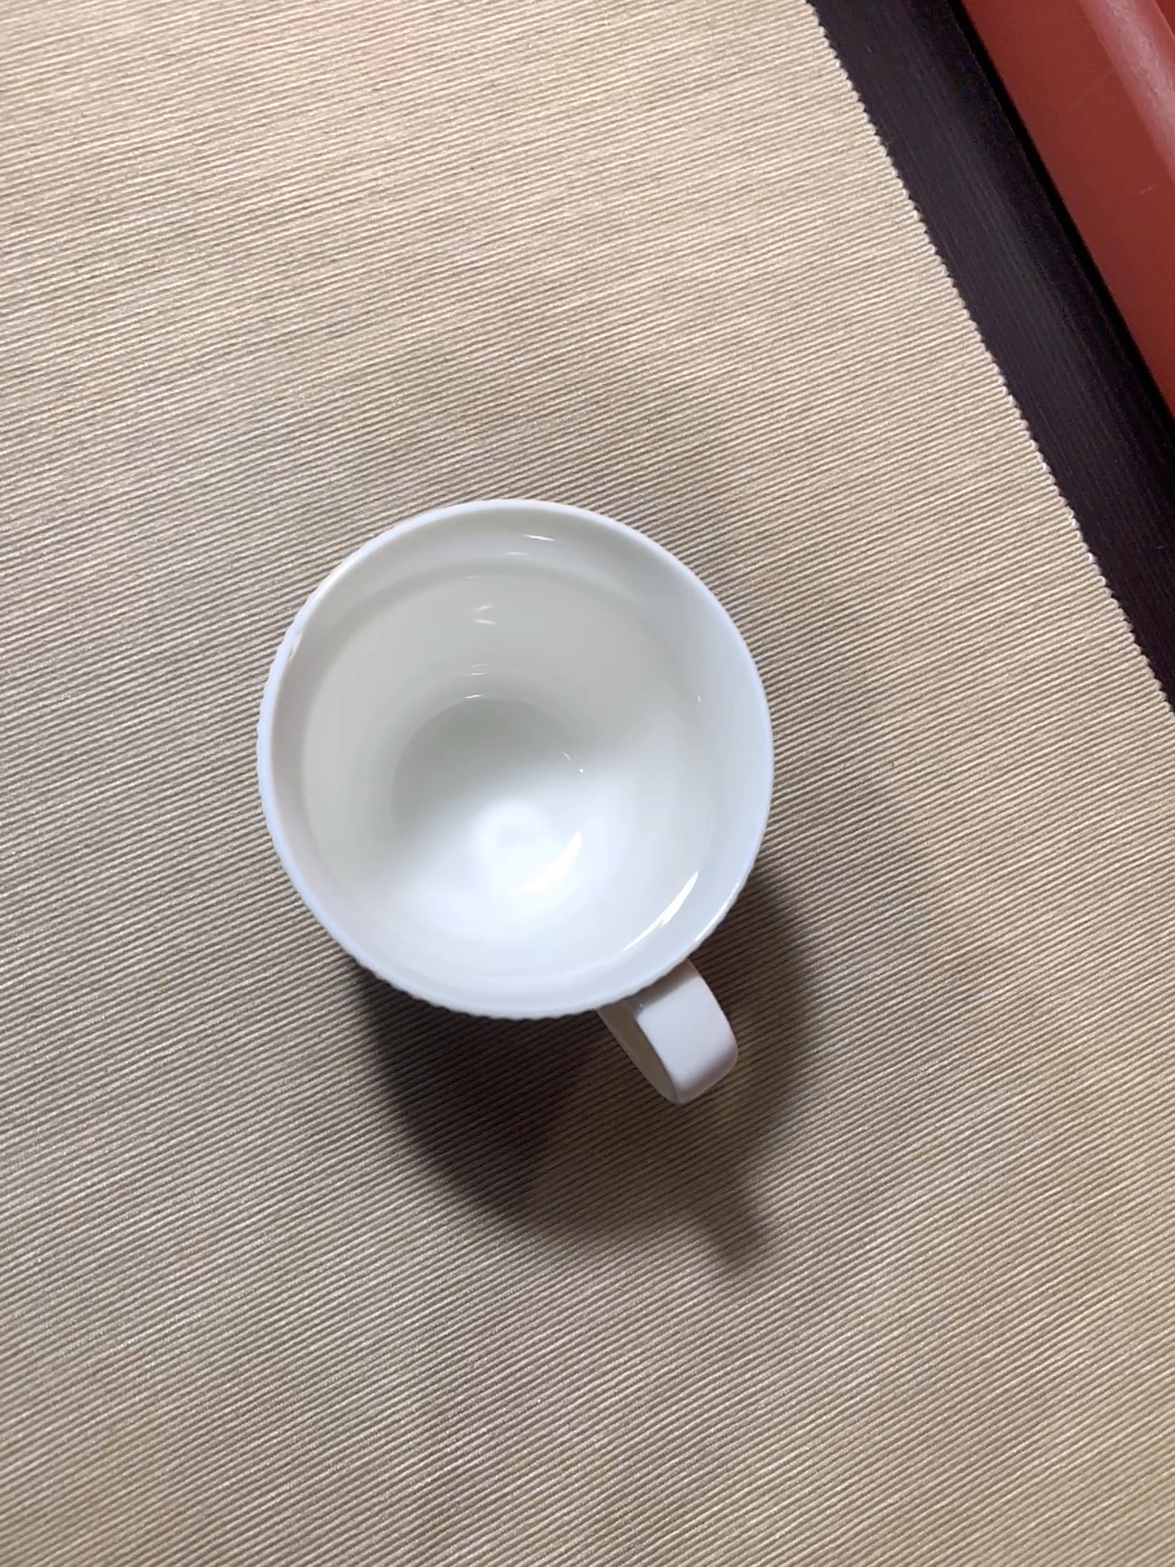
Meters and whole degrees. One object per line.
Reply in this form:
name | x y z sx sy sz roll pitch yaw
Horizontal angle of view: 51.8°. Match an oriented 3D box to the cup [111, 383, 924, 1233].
cup | -0.014 0.004 0.228 0.090 0.060 0.110 -30 87 -12
